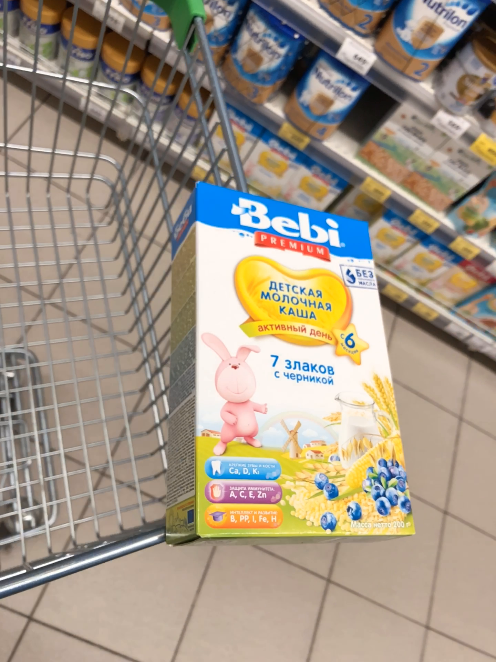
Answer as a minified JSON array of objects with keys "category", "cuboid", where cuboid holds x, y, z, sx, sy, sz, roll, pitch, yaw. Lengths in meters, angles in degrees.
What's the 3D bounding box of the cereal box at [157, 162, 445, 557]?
[{"category":"cereal box","cuboid":[0.024,0.016,0.325,0.140,0.050,0.210,8,63,-22]}]
